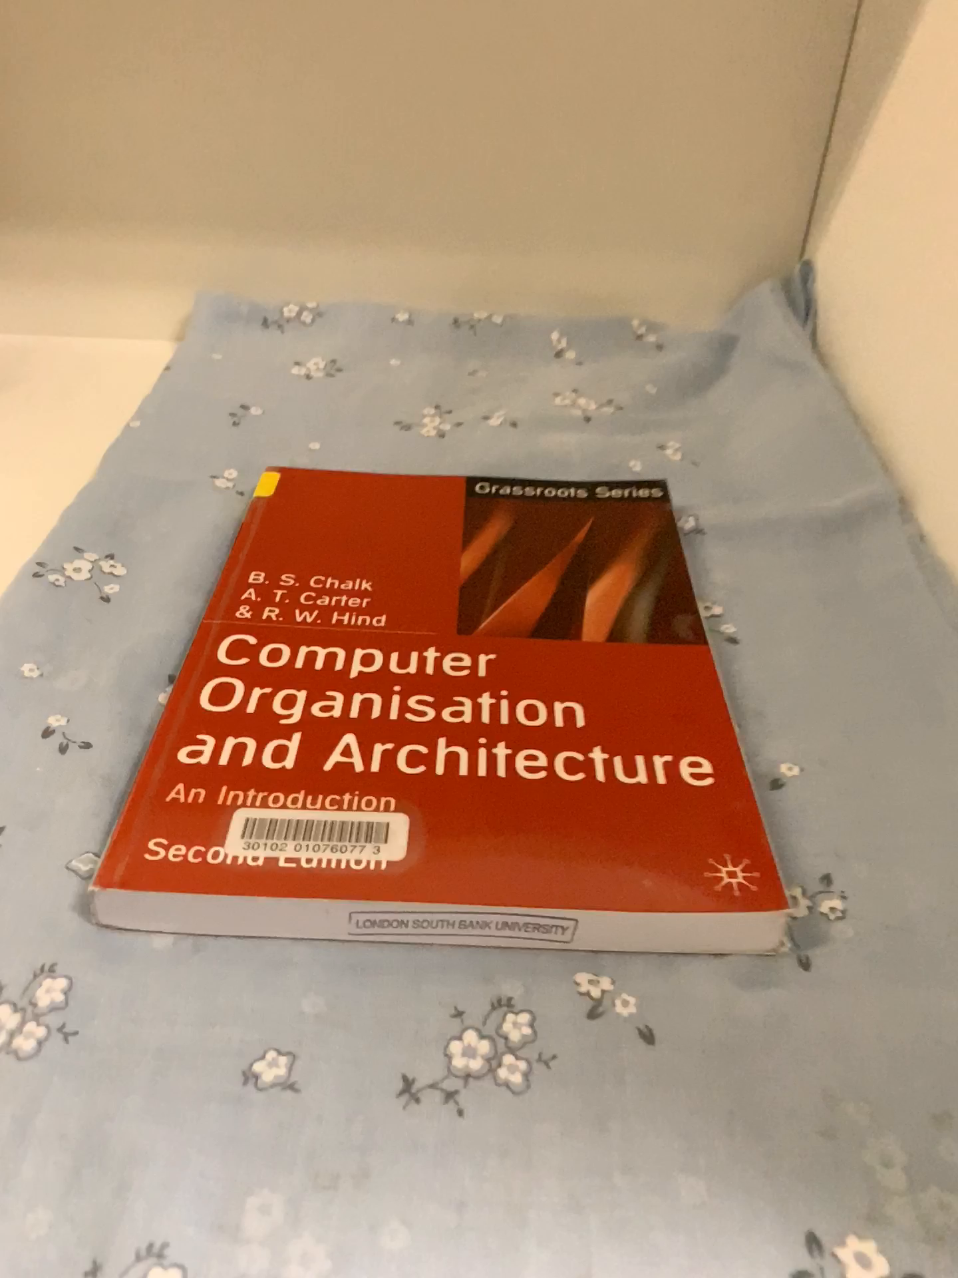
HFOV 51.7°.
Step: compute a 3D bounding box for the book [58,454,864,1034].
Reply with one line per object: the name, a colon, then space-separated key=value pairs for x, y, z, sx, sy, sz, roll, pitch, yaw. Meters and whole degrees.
book: x=0.001 y=0.009 z=0.375 sx=0.210 sy=0.030 sz=0.272 roll=4 pitch=36 yaw=1
